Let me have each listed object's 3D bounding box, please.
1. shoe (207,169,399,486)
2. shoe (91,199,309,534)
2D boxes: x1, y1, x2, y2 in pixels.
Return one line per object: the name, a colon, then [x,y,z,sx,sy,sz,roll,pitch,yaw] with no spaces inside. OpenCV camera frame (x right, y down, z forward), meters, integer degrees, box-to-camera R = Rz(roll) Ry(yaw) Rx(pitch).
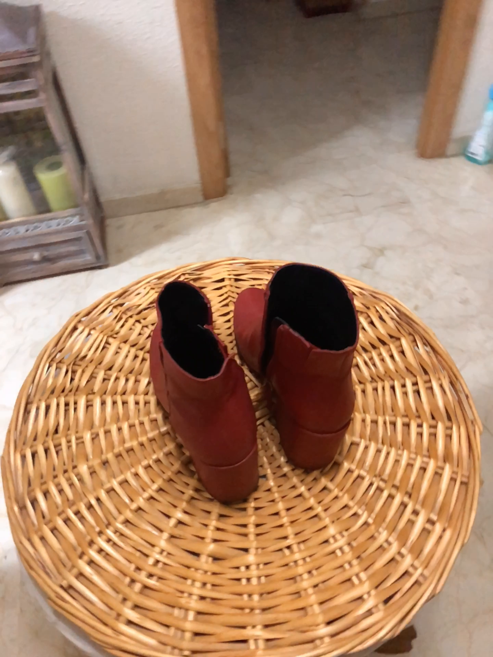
shoe: [0.042,-0.005,0.548,0.098,0.184,0.245,-13,50,-6]
shoe: [-0.045,0.032,0.522,0.098,0.184,0.245,-21,52,-13]
